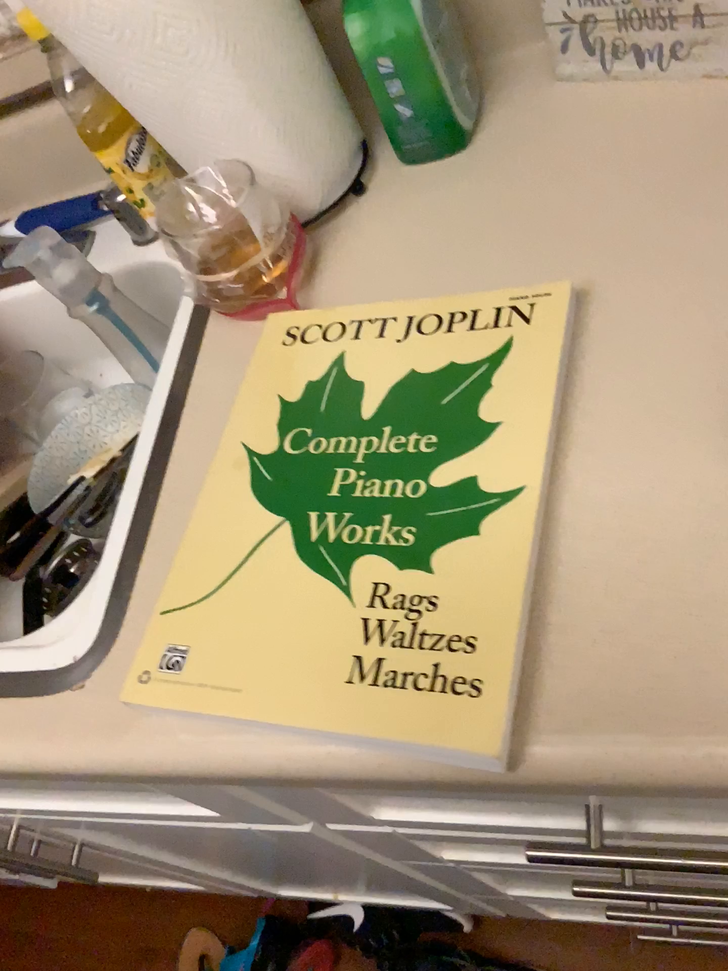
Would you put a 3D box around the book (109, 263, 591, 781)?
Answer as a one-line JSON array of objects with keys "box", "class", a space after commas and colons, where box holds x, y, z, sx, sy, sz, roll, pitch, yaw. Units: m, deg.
[{"box": [0.001, -0.001, 0.513, 0.240, 0.030, 0.320, 1, 58, 26], "class": "book"}]
